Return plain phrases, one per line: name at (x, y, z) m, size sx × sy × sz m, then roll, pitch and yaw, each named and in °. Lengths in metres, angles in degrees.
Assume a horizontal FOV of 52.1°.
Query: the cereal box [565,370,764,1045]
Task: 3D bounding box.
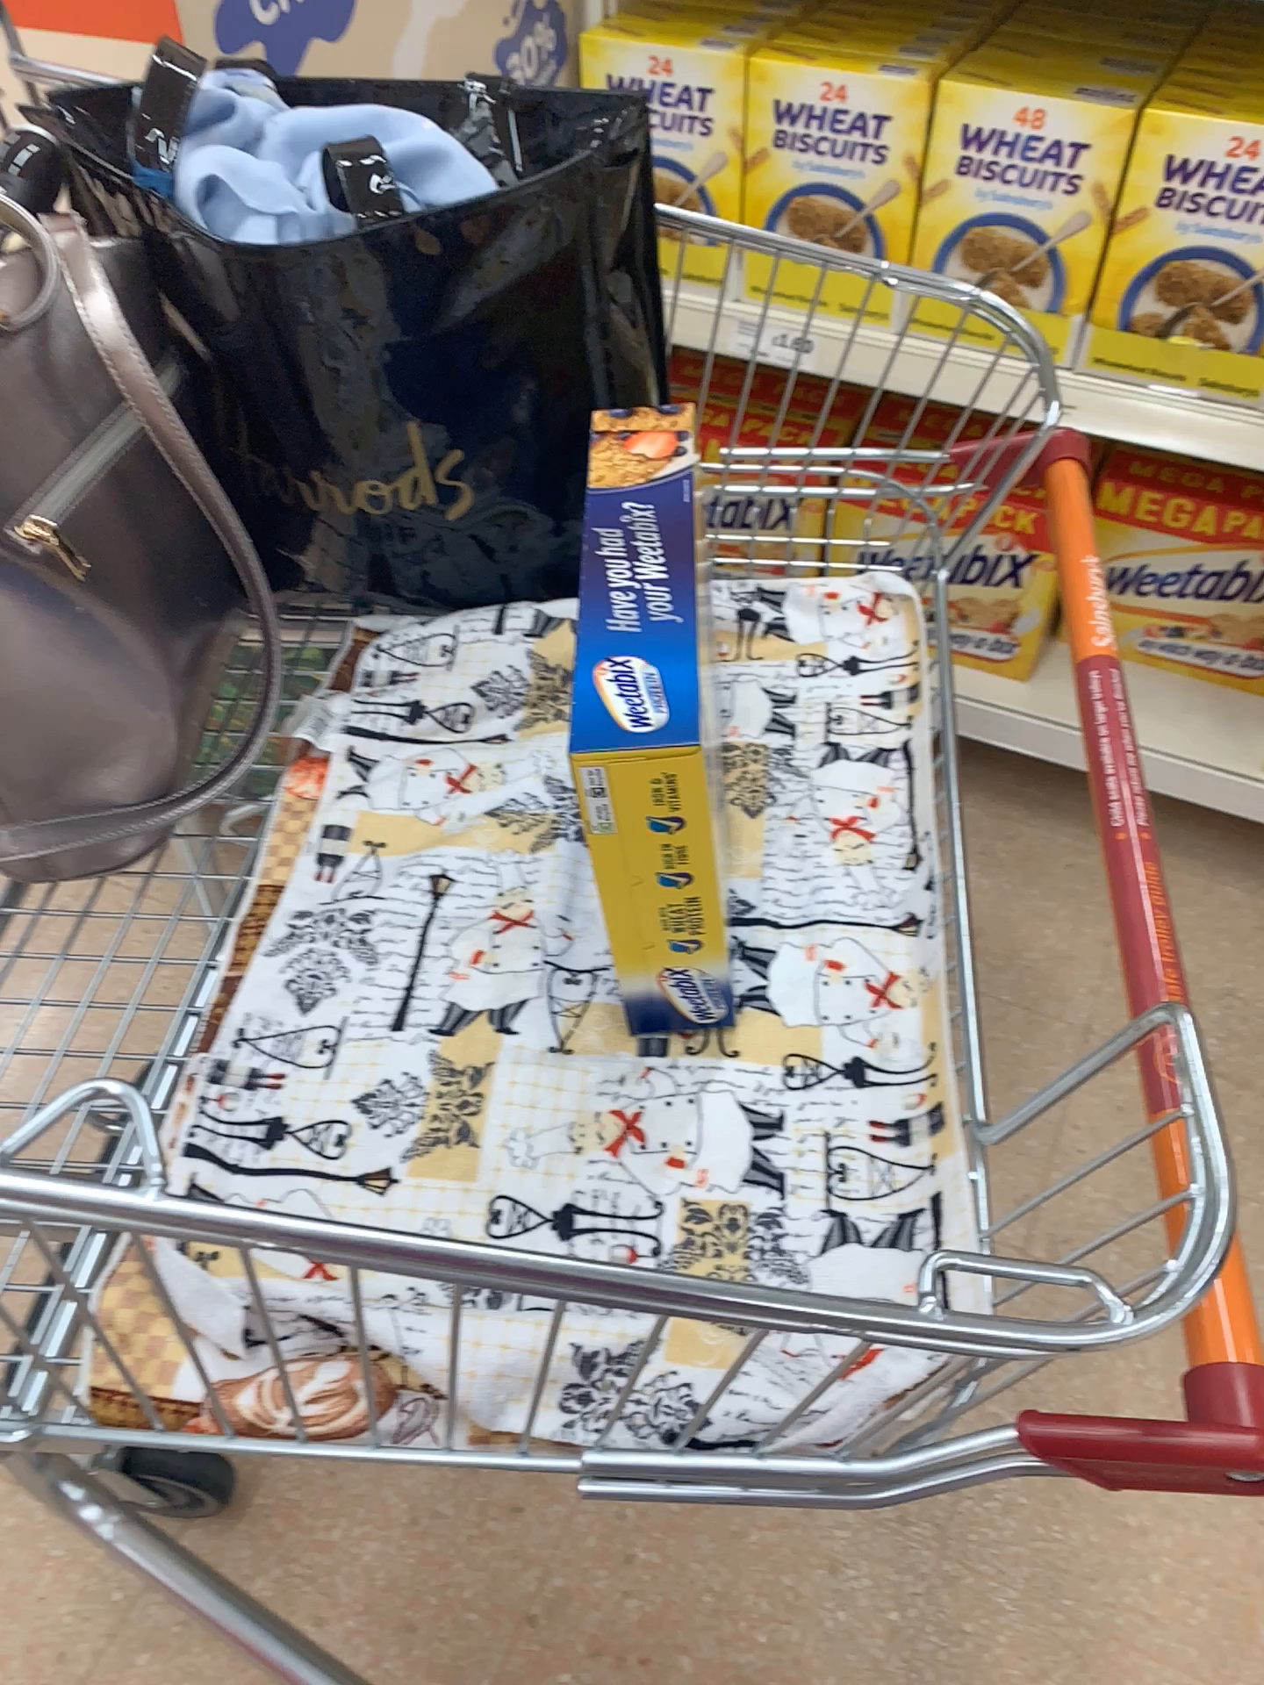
cereal box at (0.017, -0.070, 0.625) m, size 0.060 × 0.198 × 0.262 m, roll -6°, pitch 45°, yaw 5°
